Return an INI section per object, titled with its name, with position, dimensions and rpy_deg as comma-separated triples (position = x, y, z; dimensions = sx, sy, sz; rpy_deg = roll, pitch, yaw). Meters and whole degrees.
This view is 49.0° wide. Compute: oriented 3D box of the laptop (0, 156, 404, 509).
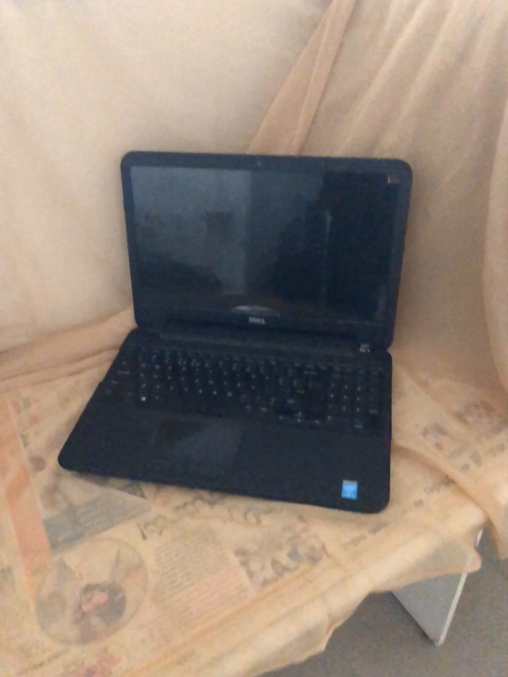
[laptop]
position = -0.020, -0.032, 0.643
dimensions = 0.348, 0.225, 0.307
rpy_deg = 6, 39, 10
